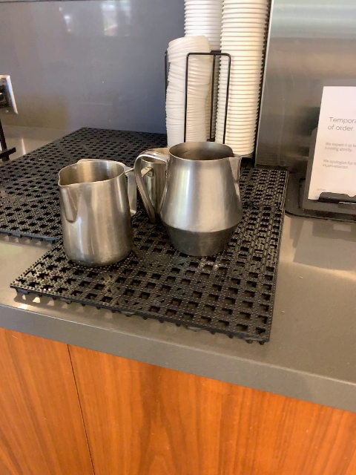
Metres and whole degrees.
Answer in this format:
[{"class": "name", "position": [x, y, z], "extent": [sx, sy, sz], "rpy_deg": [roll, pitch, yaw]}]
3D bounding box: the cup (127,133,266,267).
[{"class": "cup", "position": [0.024, -0.056, 0.478], "extent": [0.140, 0.119, 0.100], "rpy_deg": [17, 34, 27]}]

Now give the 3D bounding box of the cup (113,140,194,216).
[{"class": "cup", "position": [-0.033, -0.092, 0.545], "extent": [0.070, 0.070, 0.110], "rpy_deg": [15, 33, 24]}]

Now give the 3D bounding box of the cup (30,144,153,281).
[{"class": "cup", "position": [-0.098, -0.038, 0.457], "extent": [0.080, 0.119, 0.120], "rpy_deg": [14, 33, 23]}]

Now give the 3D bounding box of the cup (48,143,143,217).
[{"class": "cup", "position": [-0.119, -0.087, 0.536], "extent": [0.110, 0.070, 0.070], "rpy_deg": [17, 34, 28]}]
